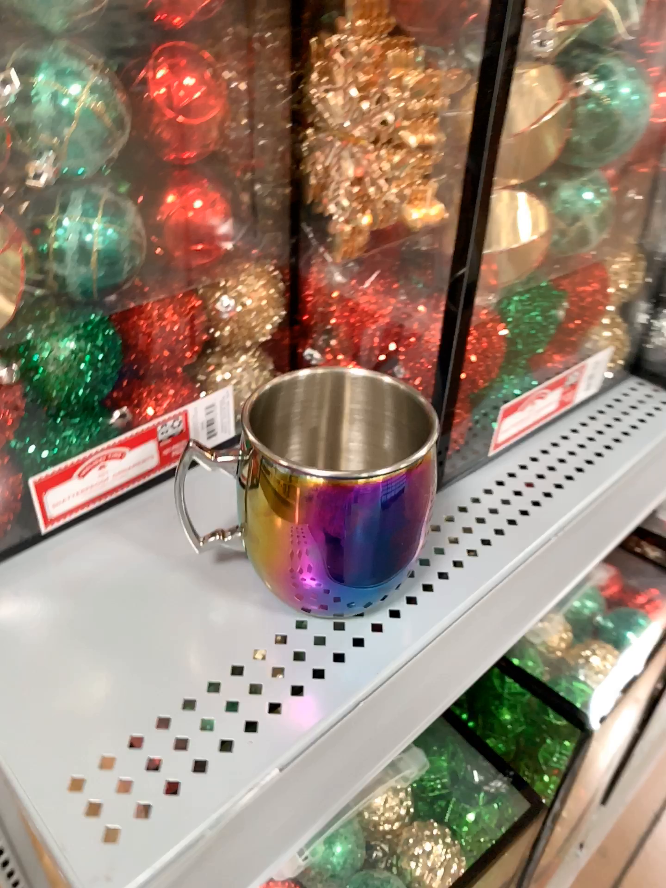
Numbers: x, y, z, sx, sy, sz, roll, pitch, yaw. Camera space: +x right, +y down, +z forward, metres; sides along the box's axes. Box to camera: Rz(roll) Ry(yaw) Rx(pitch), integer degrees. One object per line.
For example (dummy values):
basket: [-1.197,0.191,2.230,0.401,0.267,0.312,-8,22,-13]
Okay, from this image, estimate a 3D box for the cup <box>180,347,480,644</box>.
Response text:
cup: [-0.009,0.019,0.313,0.110,0.090,0.088,-4,36,-11]
